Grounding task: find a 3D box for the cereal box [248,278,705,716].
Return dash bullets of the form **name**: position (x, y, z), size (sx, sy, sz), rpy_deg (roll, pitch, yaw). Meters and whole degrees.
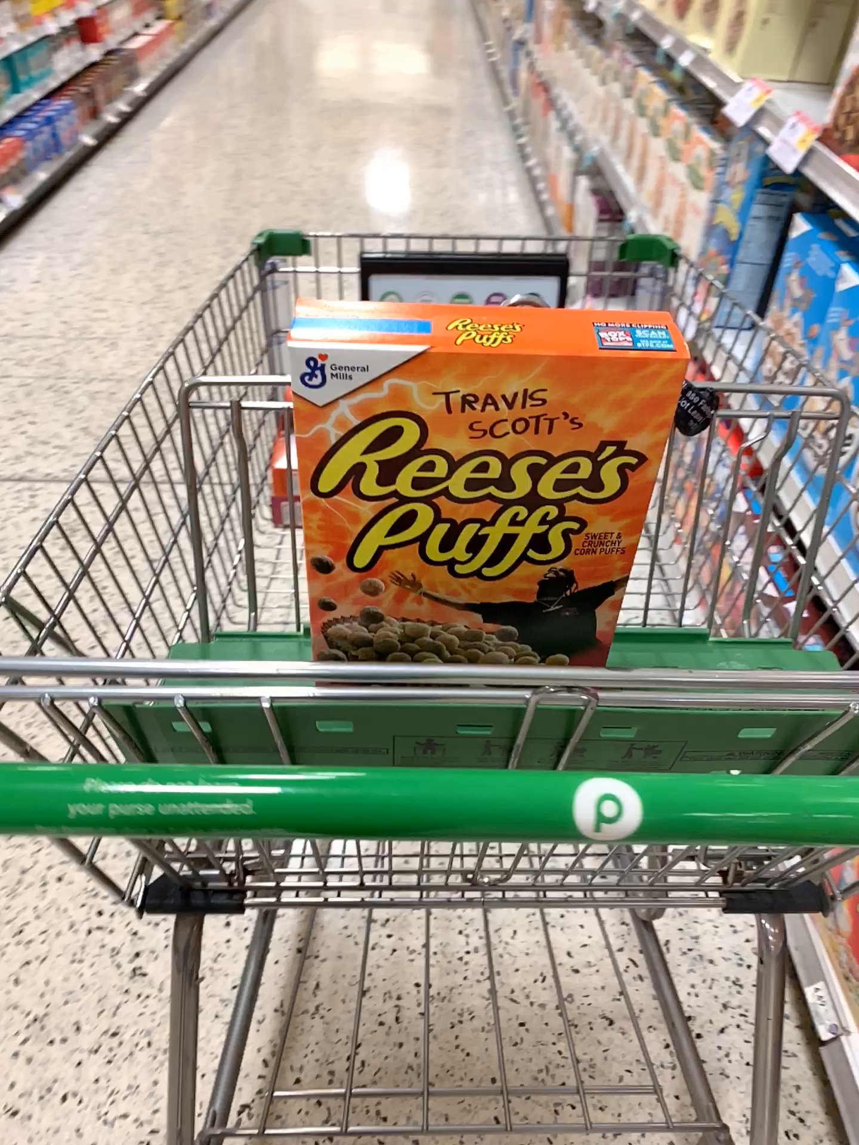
- **cereal box**: position (0.018, -0.025, 0.518), size (0.210, 0.277, 0.051), rpy_deg (2, 43, -1)
